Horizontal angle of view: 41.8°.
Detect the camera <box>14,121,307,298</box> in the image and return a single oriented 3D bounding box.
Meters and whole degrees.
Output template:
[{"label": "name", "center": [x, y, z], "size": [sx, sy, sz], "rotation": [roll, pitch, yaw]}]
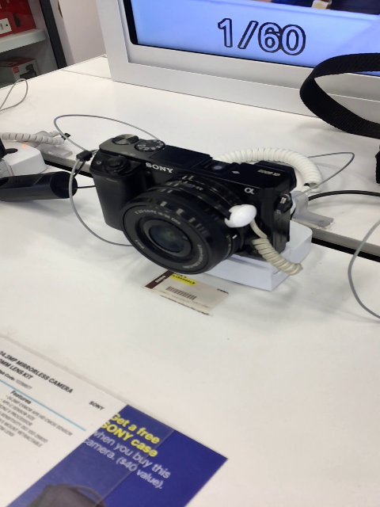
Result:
[{"label": "camera", "center": [-0.017, -0.032, 0.305], "size": [0.141, 0.056, 0.070], "rotation": [20, 48, 26]}]
